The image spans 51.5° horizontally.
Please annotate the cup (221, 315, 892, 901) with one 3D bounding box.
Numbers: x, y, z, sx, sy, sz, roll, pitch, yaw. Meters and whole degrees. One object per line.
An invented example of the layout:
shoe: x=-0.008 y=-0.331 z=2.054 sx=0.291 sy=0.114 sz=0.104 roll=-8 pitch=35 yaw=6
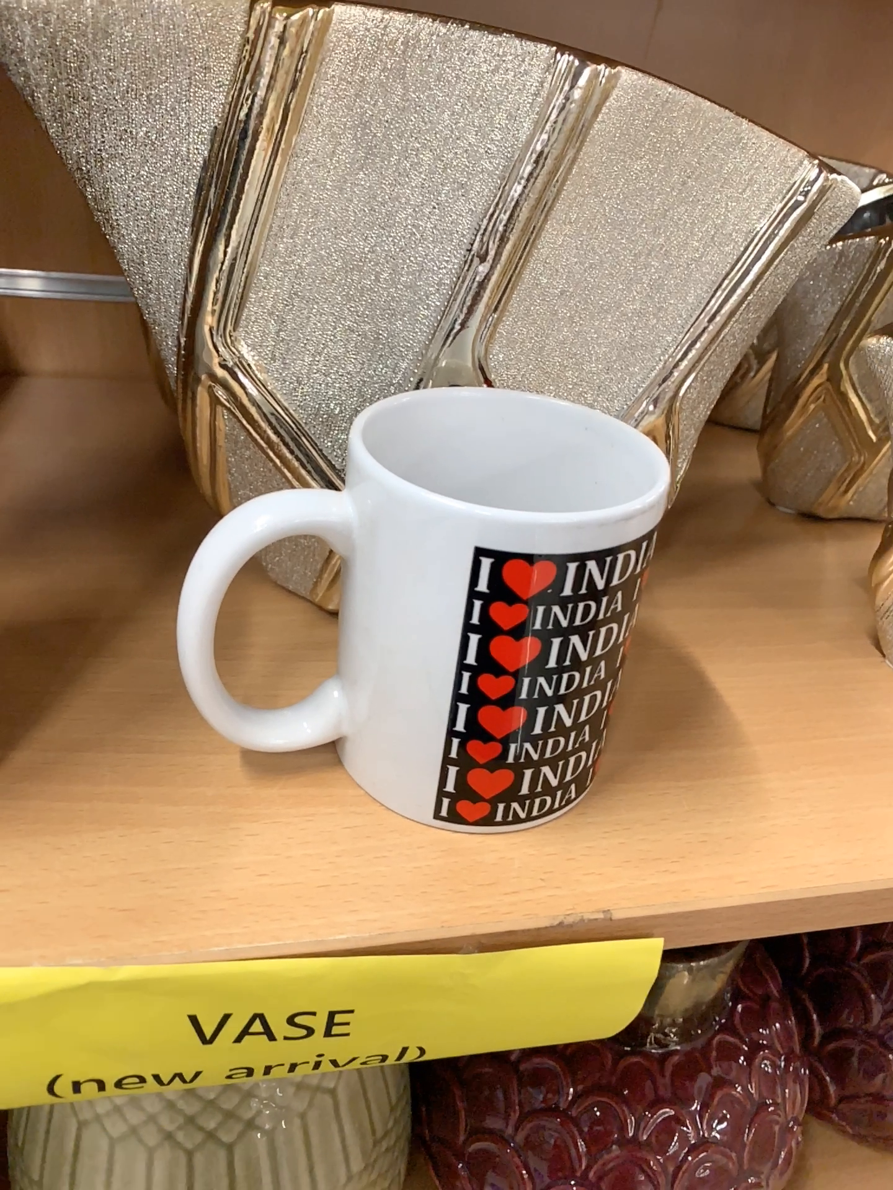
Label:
cup: x=0.022 y=-0.006 z=0.235 sx=0.130 sy=0.090 sz=0.090 roll=-13 pitch=32 yaw=-14
